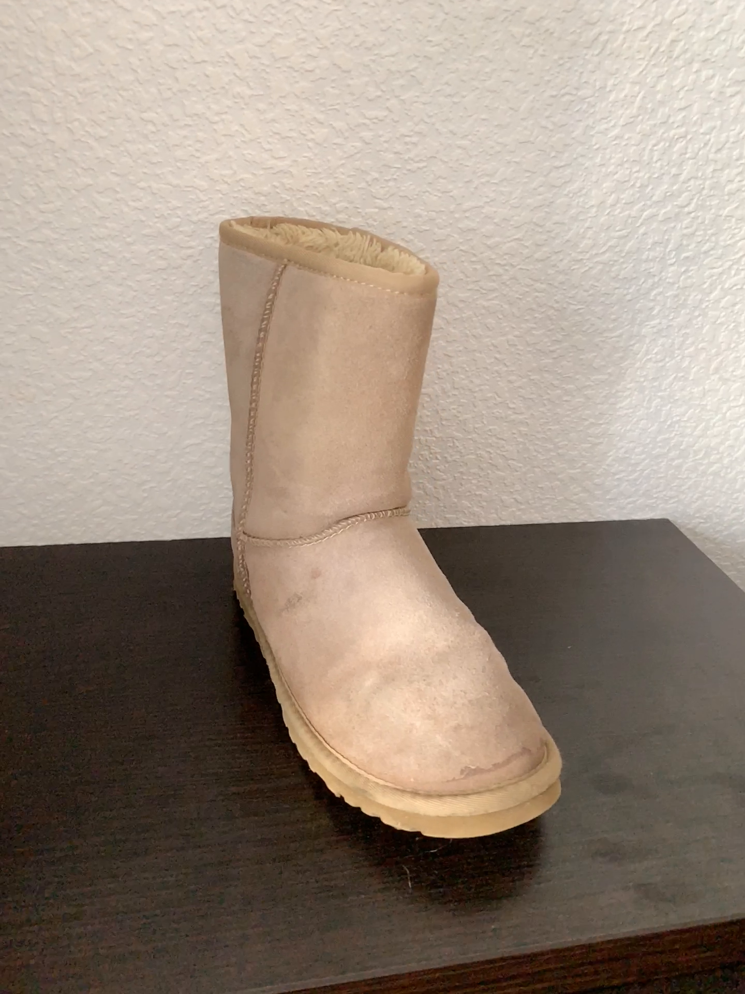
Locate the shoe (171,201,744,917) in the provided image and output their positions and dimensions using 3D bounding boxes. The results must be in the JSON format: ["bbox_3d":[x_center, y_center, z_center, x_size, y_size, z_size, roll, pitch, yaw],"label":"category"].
[{"bbox_3d":[0.002,-0.005,0.373,0.116,0.229,0.261,-11,31,-27],"label":"shoe"}]
